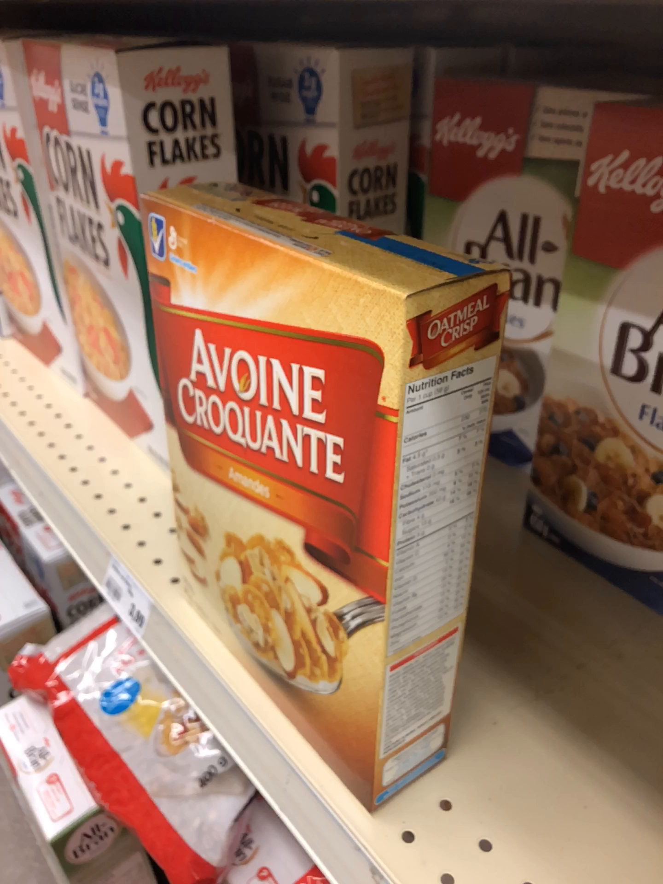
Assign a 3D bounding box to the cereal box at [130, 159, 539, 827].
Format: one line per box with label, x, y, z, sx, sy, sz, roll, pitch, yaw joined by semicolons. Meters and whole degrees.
cereal box;-0.013;0.017;0.371;0.060;0.268;0.201;-21;36;-31
